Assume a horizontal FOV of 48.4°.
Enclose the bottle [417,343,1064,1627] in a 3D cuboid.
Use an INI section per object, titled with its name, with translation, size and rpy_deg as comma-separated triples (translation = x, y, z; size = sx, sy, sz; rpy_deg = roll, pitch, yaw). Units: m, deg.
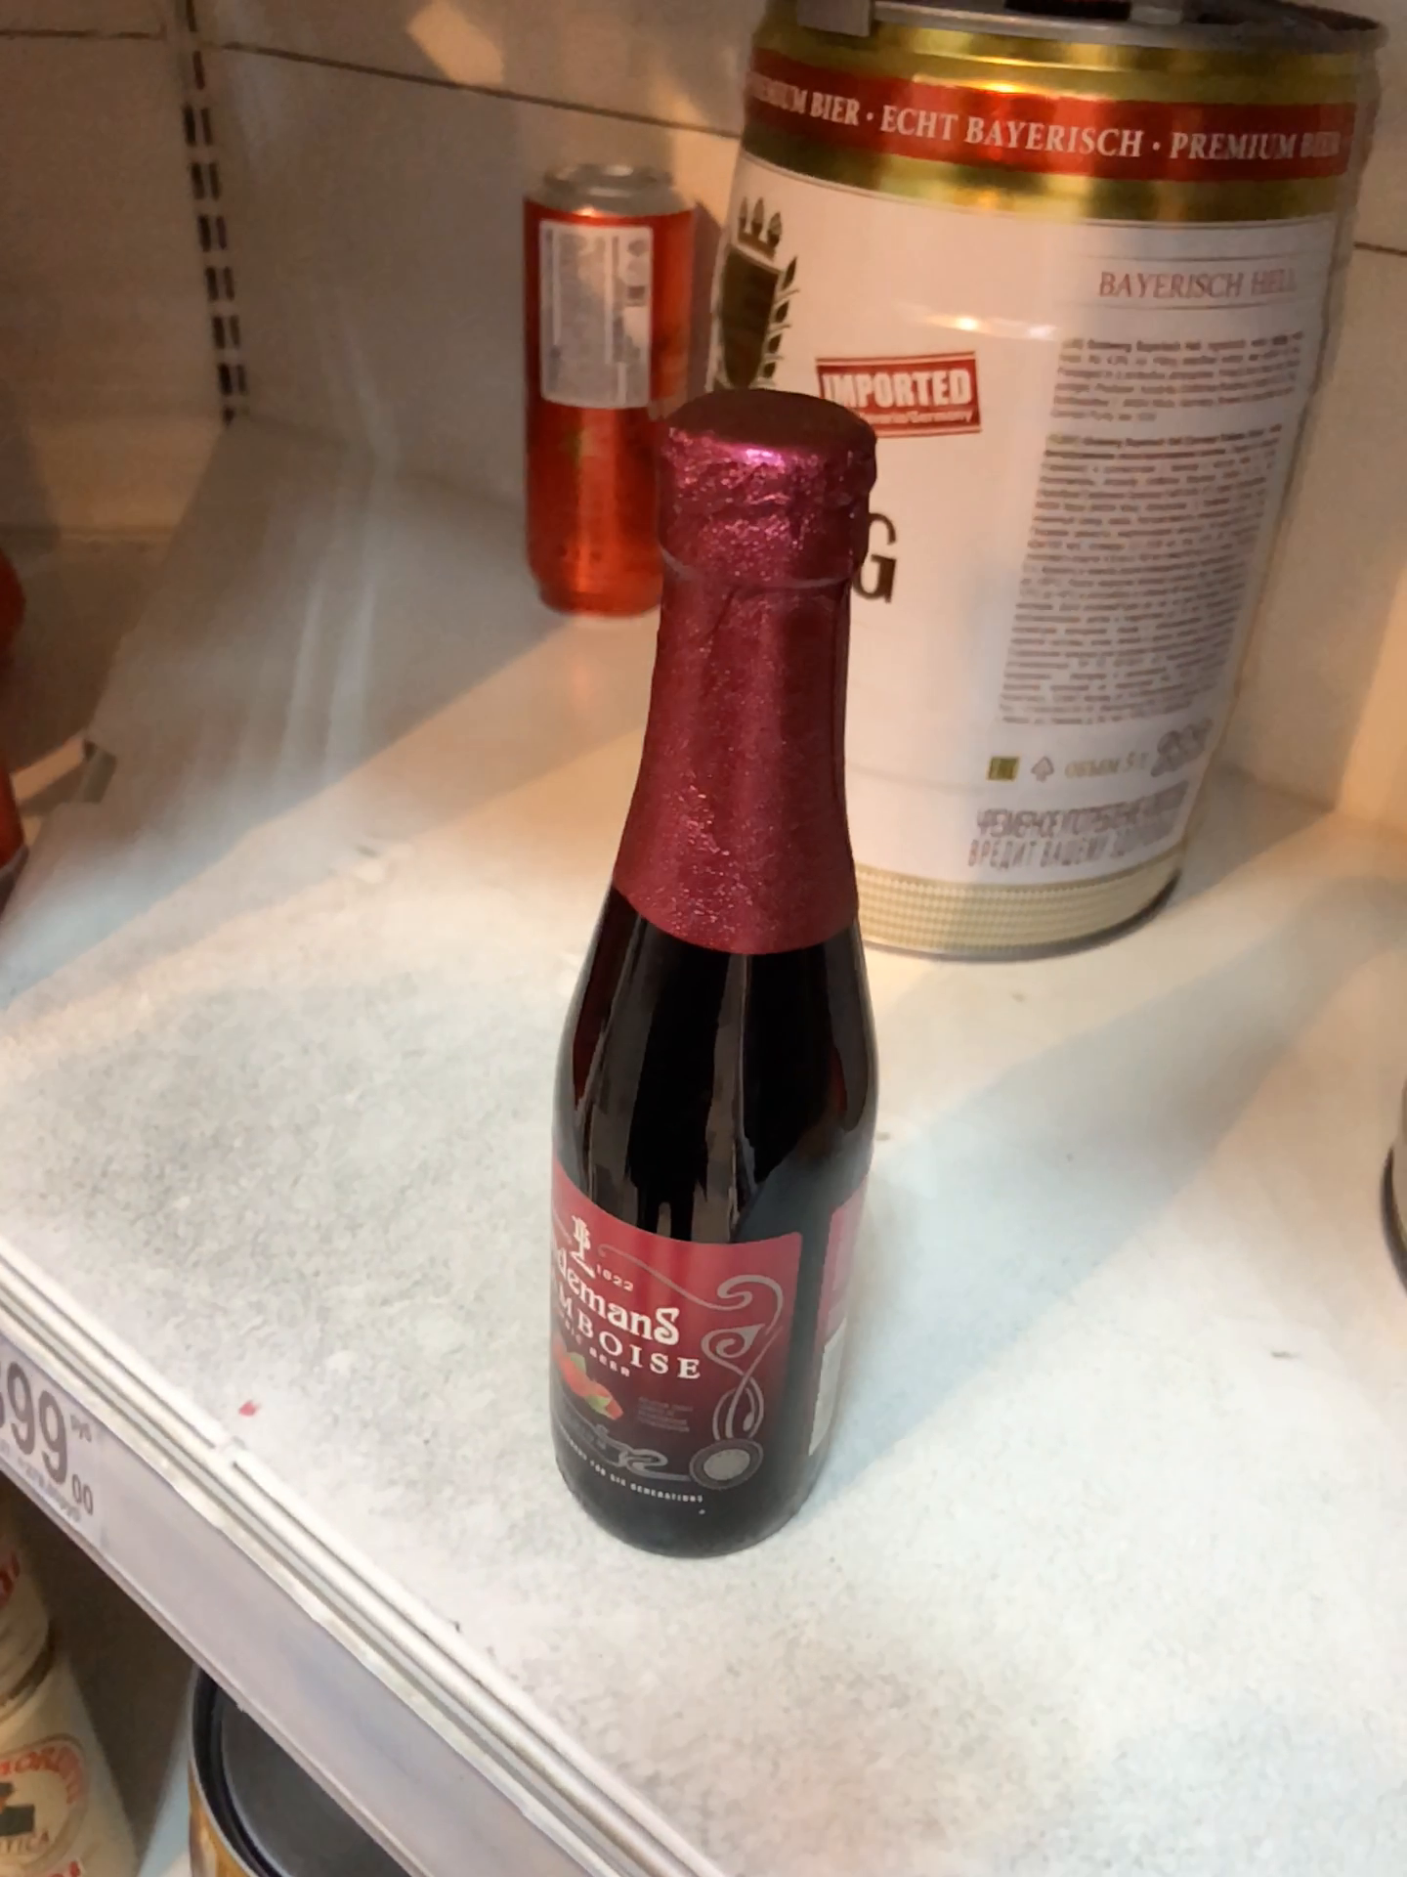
[bottle]
translation = 0.000, 0.017, 0.254
size = 0.058, 0.199, 0.058
rpy_deg = 2, 35, -1
